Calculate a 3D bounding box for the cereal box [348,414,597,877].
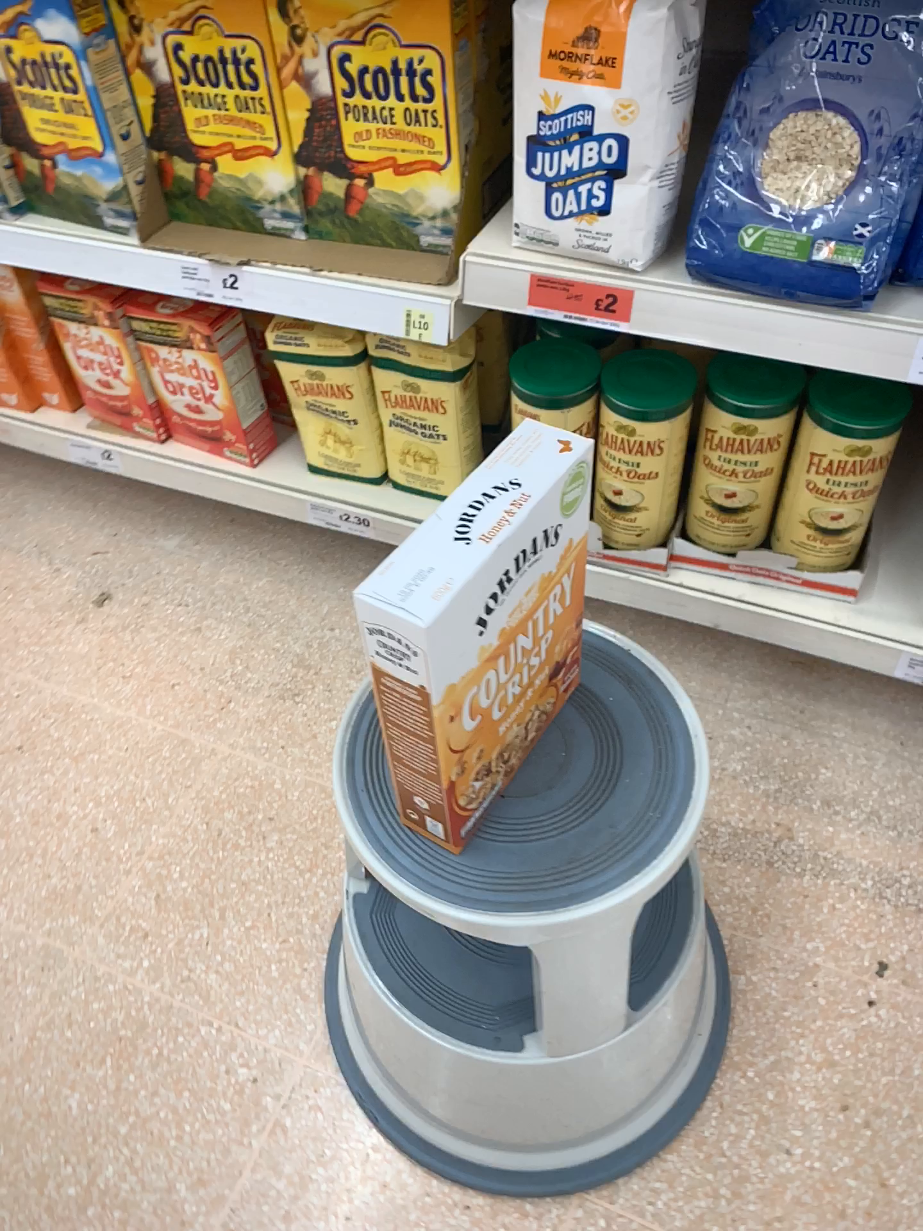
[{"bbox_3d":[0.019,0.028,0.625,0.050,0.258,0.181,24,53,24],"label":"cereal box"}]
